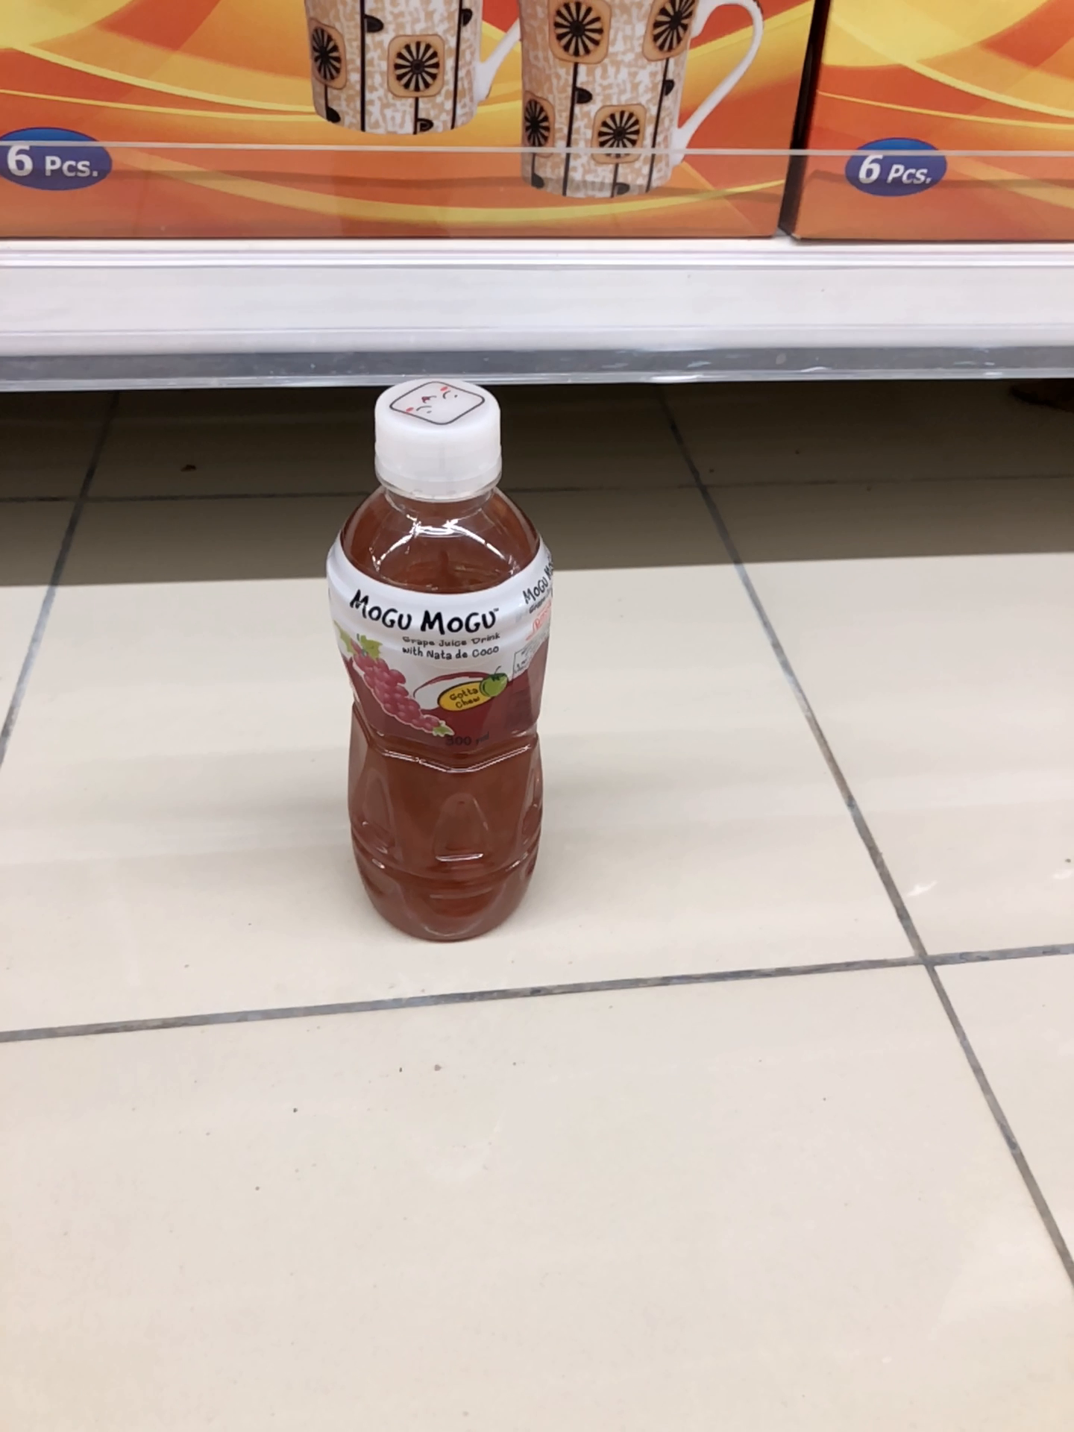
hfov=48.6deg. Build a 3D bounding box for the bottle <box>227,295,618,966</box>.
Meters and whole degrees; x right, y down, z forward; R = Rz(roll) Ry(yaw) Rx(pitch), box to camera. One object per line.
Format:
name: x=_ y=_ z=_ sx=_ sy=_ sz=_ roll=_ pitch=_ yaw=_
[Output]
bottle: x=-0.026 y=-0.018 z=0.322 sx=0.070 sy=0.159 sz=0.070 roll=2 pitch=40 yaw=-1
